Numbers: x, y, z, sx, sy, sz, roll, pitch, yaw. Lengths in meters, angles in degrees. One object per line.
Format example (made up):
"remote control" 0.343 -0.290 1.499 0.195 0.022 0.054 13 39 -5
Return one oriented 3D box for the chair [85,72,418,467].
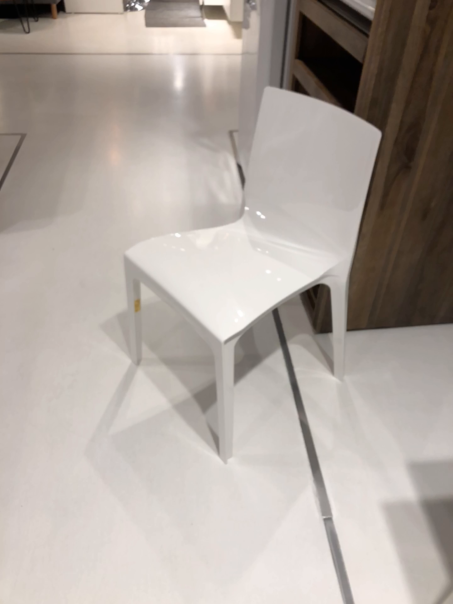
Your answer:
"chair" 0.042 -0.092 1.315 0.522 0.754 0.482 -29 50 -30
